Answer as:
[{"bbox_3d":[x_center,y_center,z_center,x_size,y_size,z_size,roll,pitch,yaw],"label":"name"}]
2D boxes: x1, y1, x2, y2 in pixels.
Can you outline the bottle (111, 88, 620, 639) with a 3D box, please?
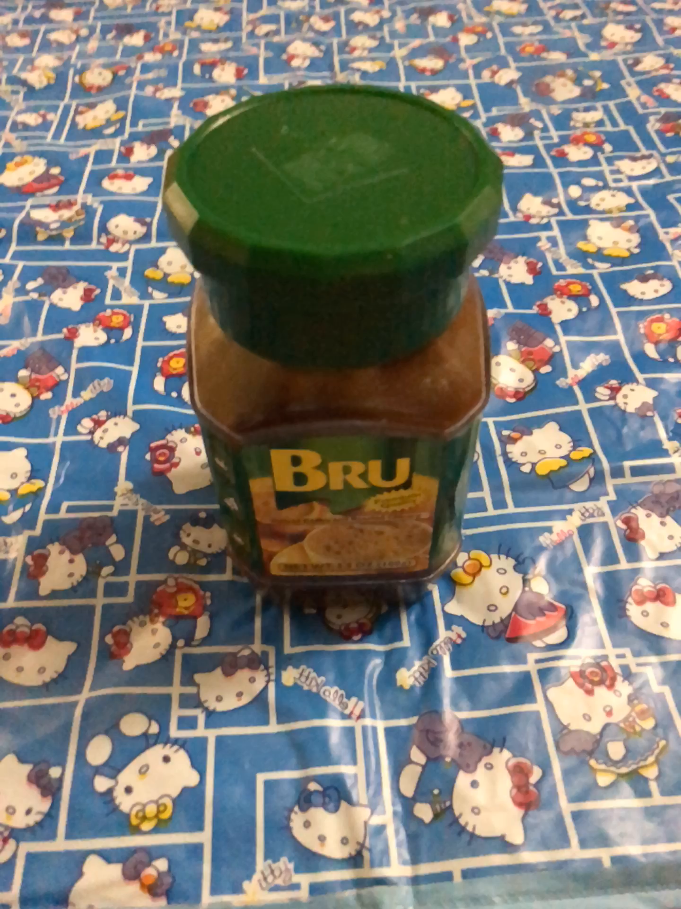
[{"bbox_3d":[0.004,-0.013,0.188,0.080,0.120,0.070,-1,52,0],"label":"bottle"}]
